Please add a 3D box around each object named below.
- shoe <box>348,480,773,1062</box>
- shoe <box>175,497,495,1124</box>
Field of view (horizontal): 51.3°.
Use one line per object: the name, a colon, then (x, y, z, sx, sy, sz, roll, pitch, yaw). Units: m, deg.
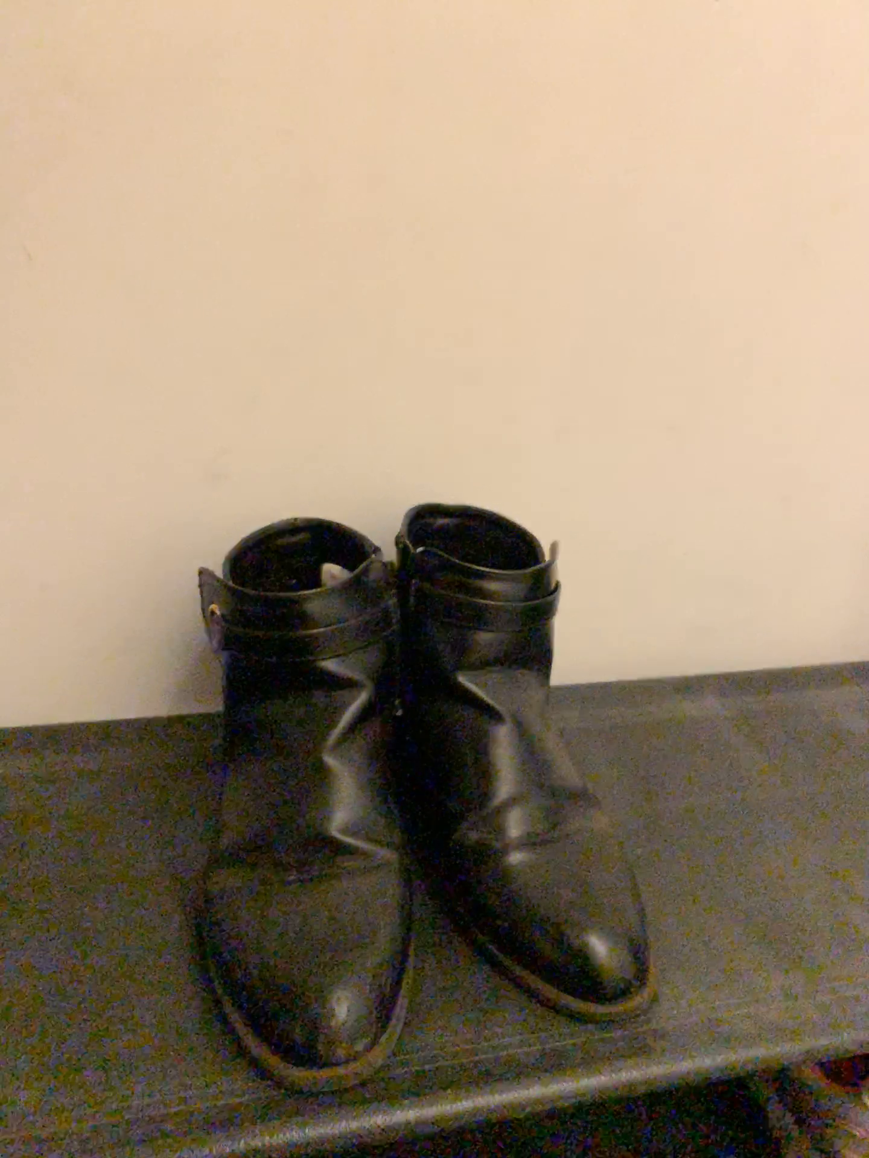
shoe: (0.036, 0.070, 0.462, 0.100, 0.169, 0.242, -5, 25, -19)
shoe: (-0.057, 0.080, 0.415, 0.100, 0.169, 0.222, -1, 24, -12)
